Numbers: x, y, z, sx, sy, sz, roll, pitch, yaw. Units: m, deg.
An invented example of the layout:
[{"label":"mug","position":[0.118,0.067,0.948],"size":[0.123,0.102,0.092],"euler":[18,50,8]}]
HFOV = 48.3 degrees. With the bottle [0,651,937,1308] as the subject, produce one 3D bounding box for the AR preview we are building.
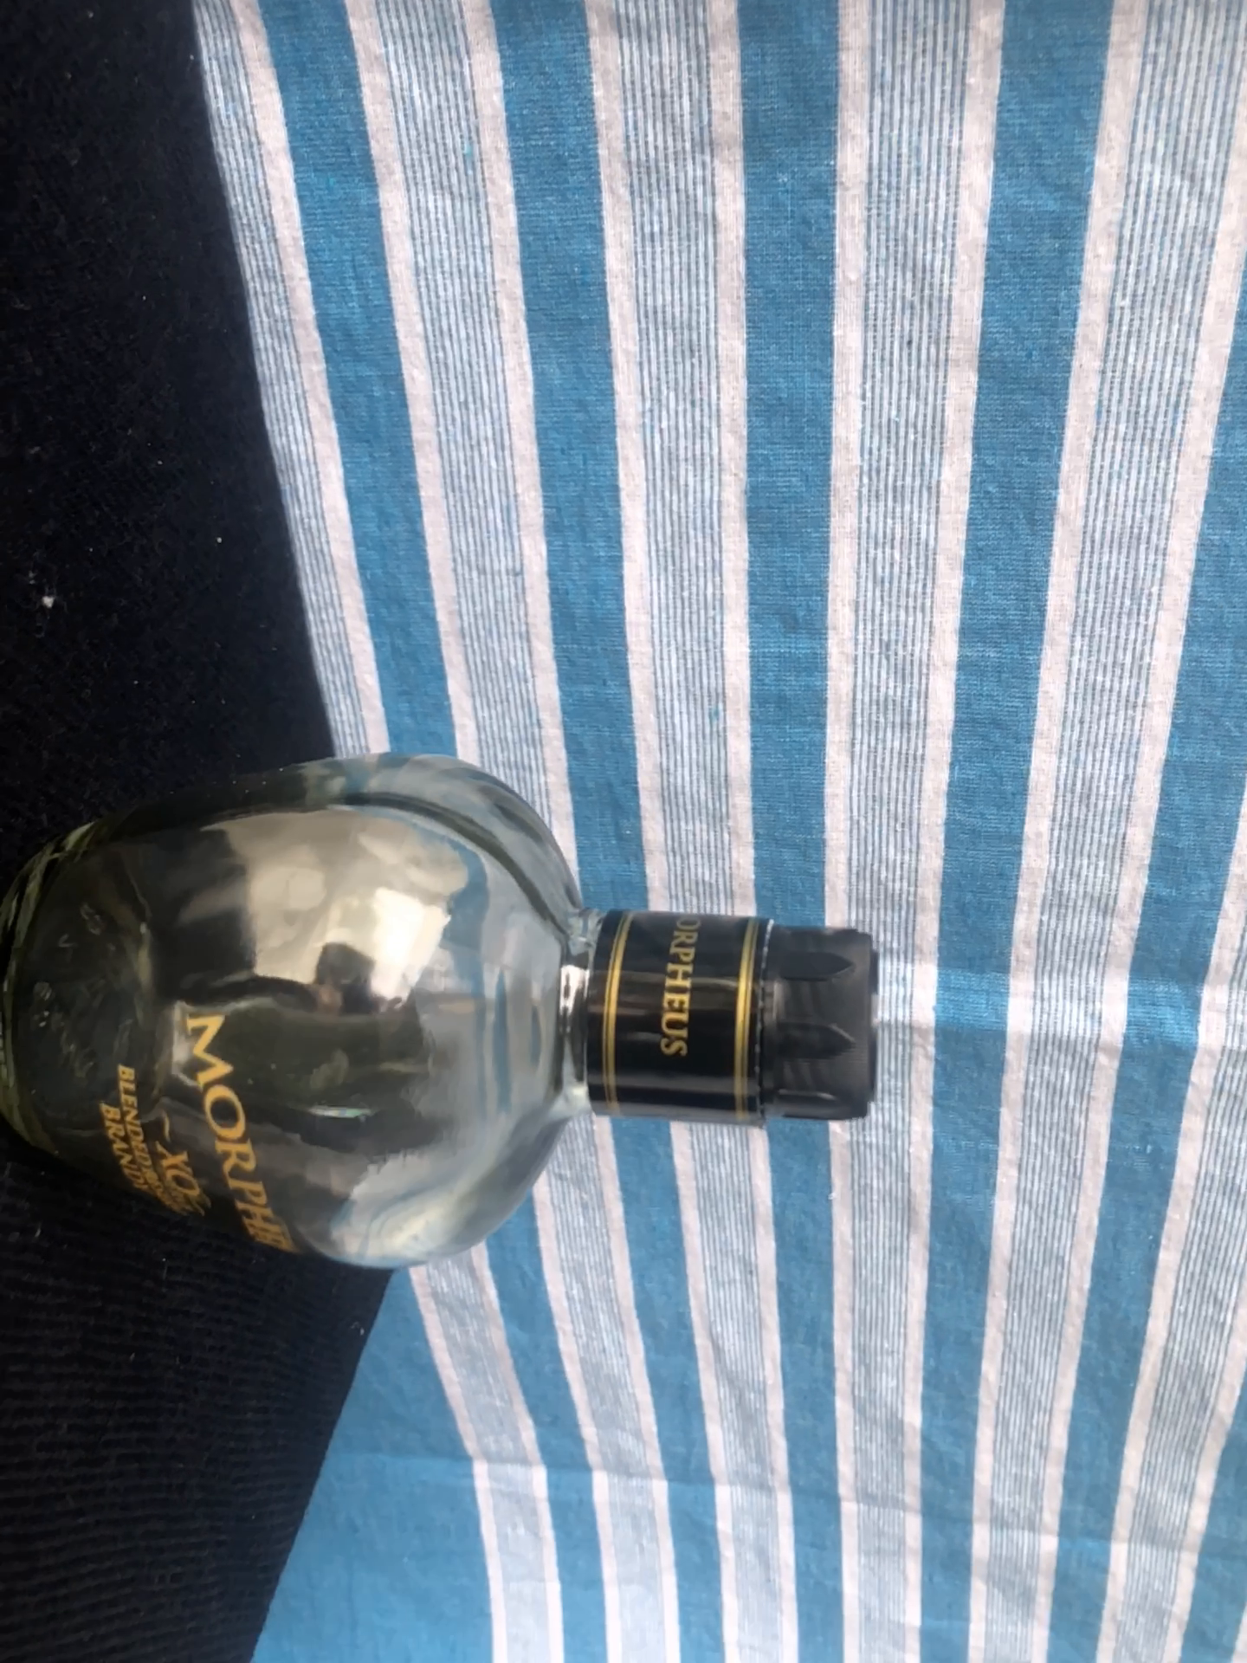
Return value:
[{"label":"bottle","position":[-0.023,0.020,0.205],"size":[0.050,0.130,0.070],"euler":[-74,165,-47]}]
